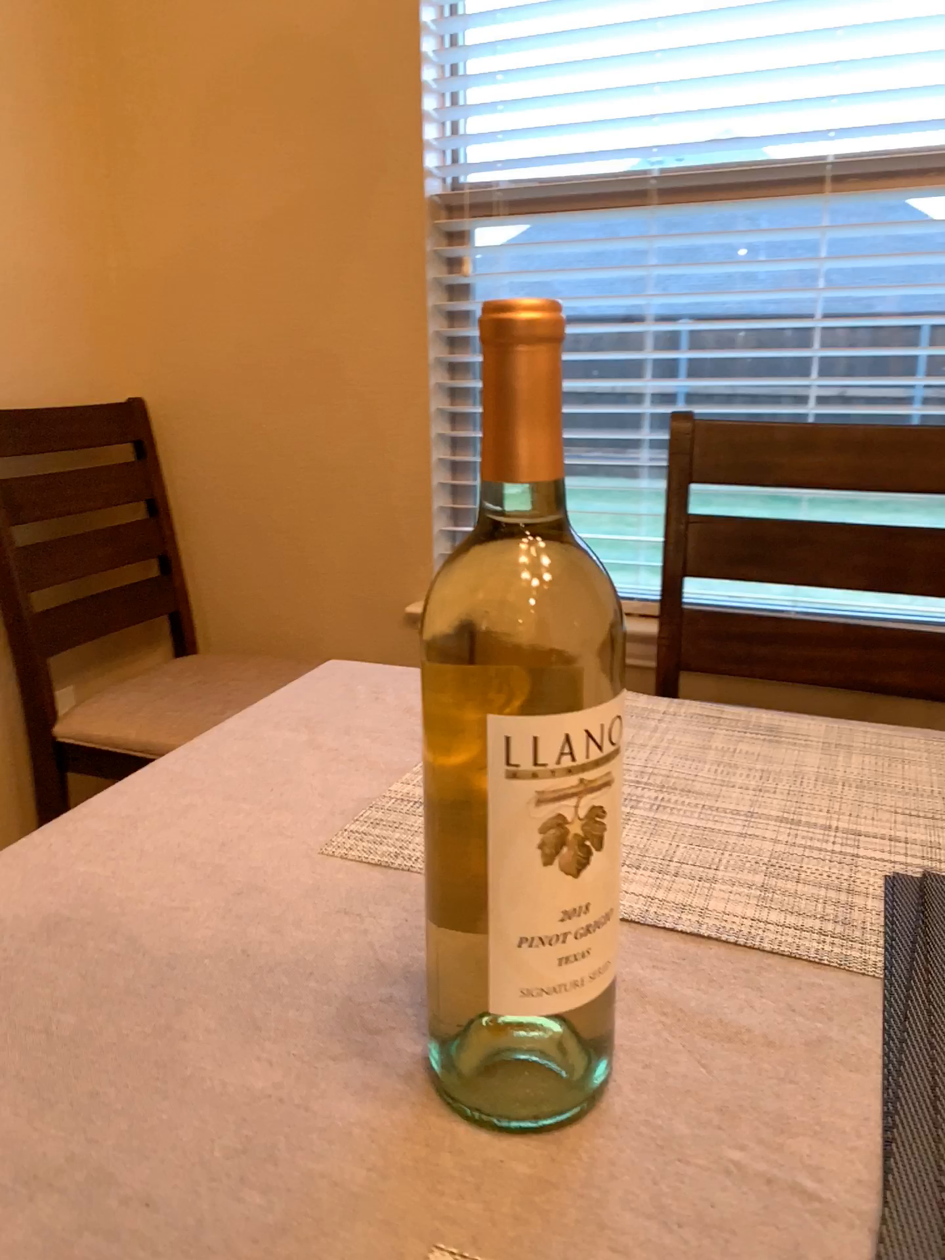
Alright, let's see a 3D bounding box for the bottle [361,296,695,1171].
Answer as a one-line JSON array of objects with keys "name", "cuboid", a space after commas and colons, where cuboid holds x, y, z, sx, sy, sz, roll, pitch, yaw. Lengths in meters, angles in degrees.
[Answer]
[{"name": "bottle", "cuboid": [0.017, 0.036, 0.364, 0.083, 0.299, 0.080, 0, 15, 0]}]
